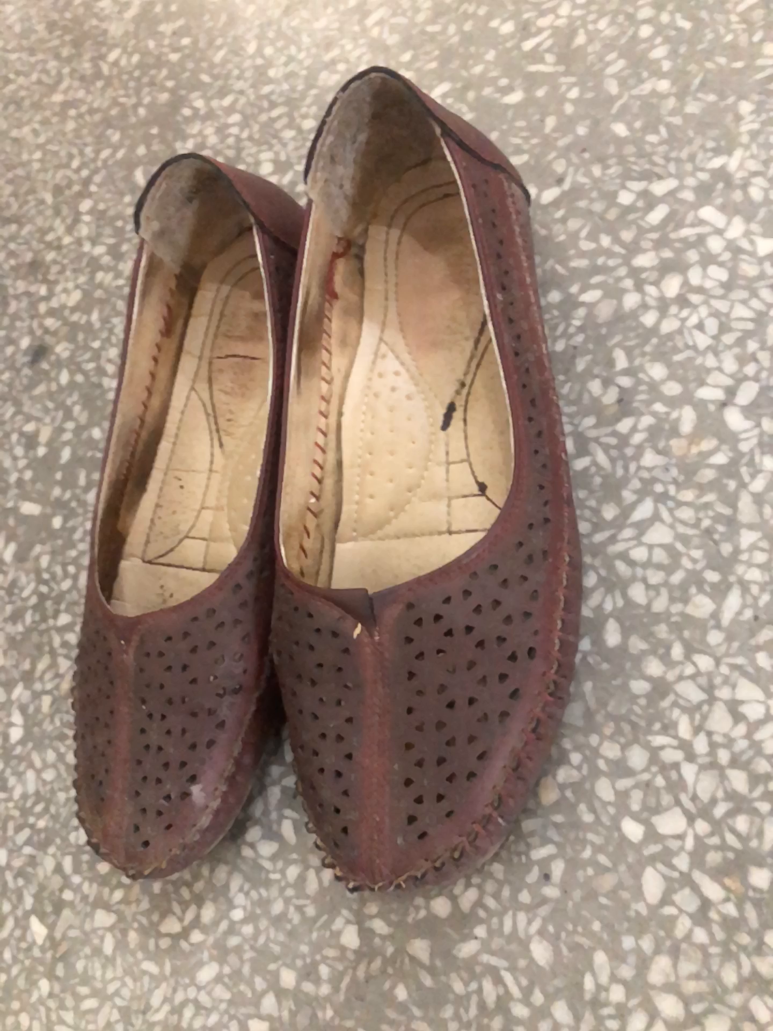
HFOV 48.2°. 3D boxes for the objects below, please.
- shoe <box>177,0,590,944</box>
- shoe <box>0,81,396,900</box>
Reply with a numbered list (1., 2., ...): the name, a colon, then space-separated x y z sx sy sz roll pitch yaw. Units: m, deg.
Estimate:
1. shoe: 0.007 -0.020 0.258 0.090 0.060 0.250 -5 73 27
2. shoe: -0.063 -0.013 0.299 0.090 0.060 0.250 -1 74 28
